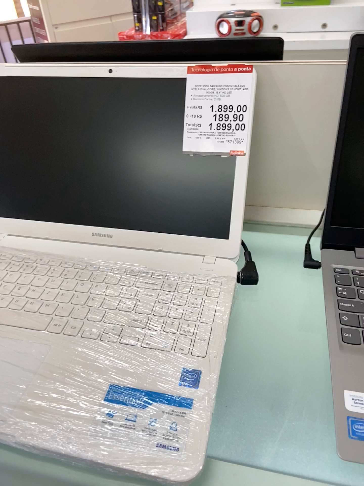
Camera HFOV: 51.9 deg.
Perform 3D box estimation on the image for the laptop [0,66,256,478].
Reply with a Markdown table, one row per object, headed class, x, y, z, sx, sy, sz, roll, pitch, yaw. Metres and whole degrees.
| class | x | y | z | sx | sy | sz | roll | pitch | yaw |
| --- | --- | --- | --- | --- | --- | --- | --- | --- | --- |
| laptop | -0.132 | -0.035 | 0.408 | 0.375 | 0.192 | 0.383 | 6 | 40 | 13 |
